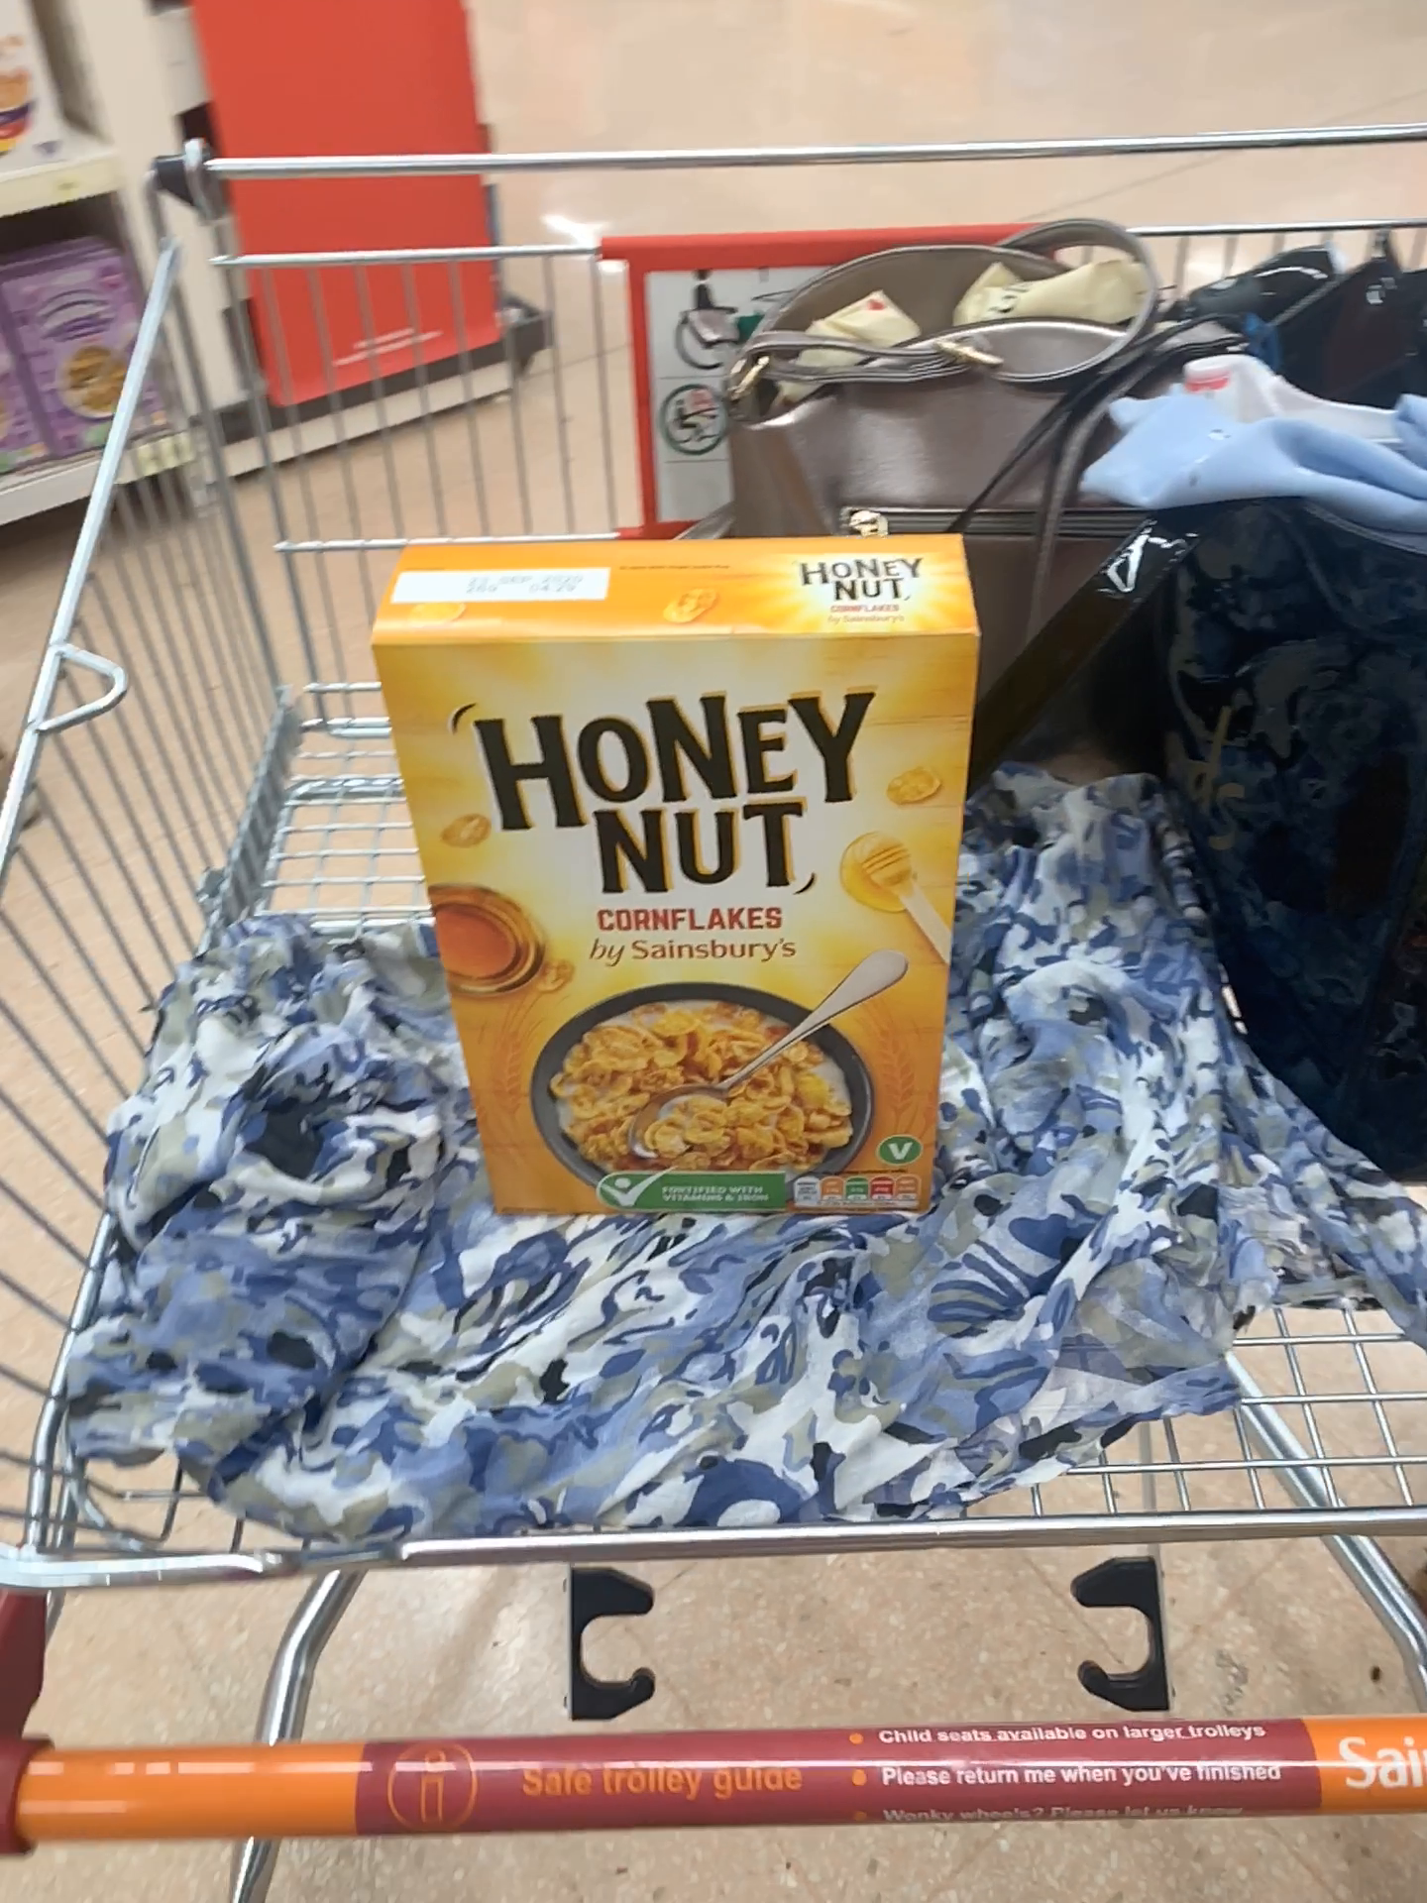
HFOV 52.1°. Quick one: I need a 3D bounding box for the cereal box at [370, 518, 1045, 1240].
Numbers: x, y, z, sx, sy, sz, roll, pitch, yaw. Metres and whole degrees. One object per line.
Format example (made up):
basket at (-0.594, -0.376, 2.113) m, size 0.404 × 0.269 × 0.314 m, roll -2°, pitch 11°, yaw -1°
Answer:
cereal box at (0.003, -0.012, 0.581) m, size 0.210 × 0.297 × 0.081 m, roll -1°, pitch 41°, yaw 2°
